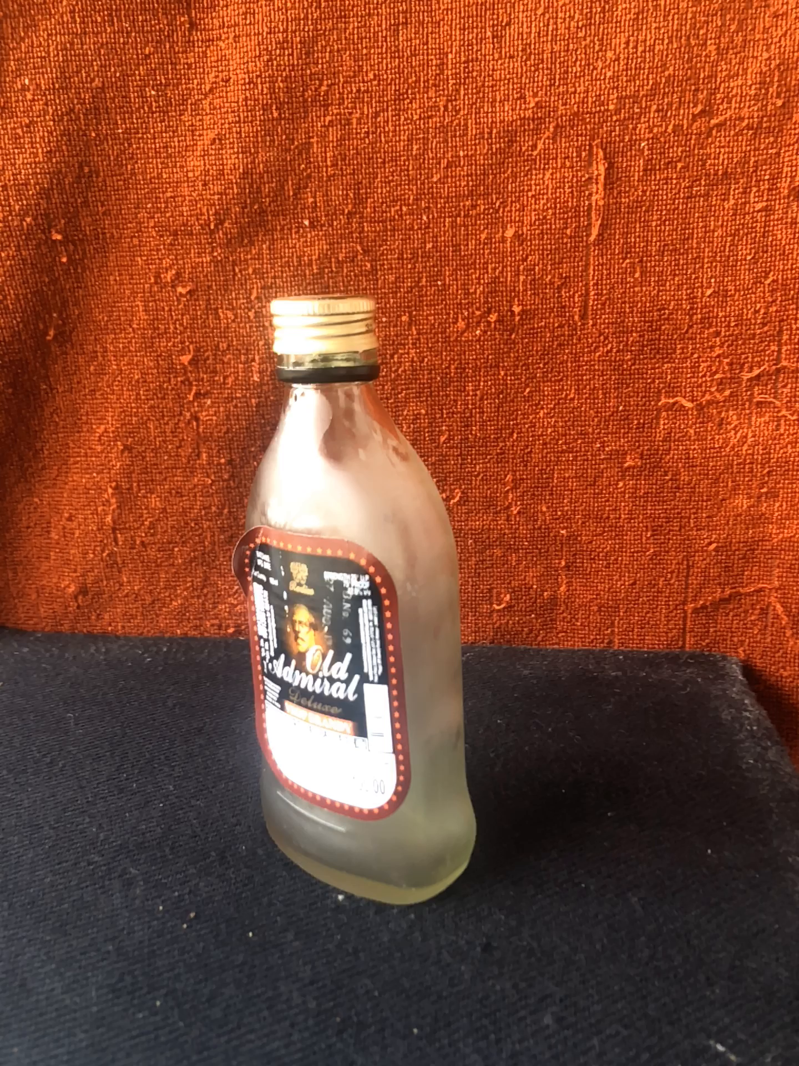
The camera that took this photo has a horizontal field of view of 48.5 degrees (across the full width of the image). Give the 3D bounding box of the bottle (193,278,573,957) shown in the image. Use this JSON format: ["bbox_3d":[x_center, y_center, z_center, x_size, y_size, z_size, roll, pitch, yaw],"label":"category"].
[{"bbox_3d":[-0.004,0.015,0.224,0.070,0.149,0.050,13,22,35],"label":"bottle"}]
